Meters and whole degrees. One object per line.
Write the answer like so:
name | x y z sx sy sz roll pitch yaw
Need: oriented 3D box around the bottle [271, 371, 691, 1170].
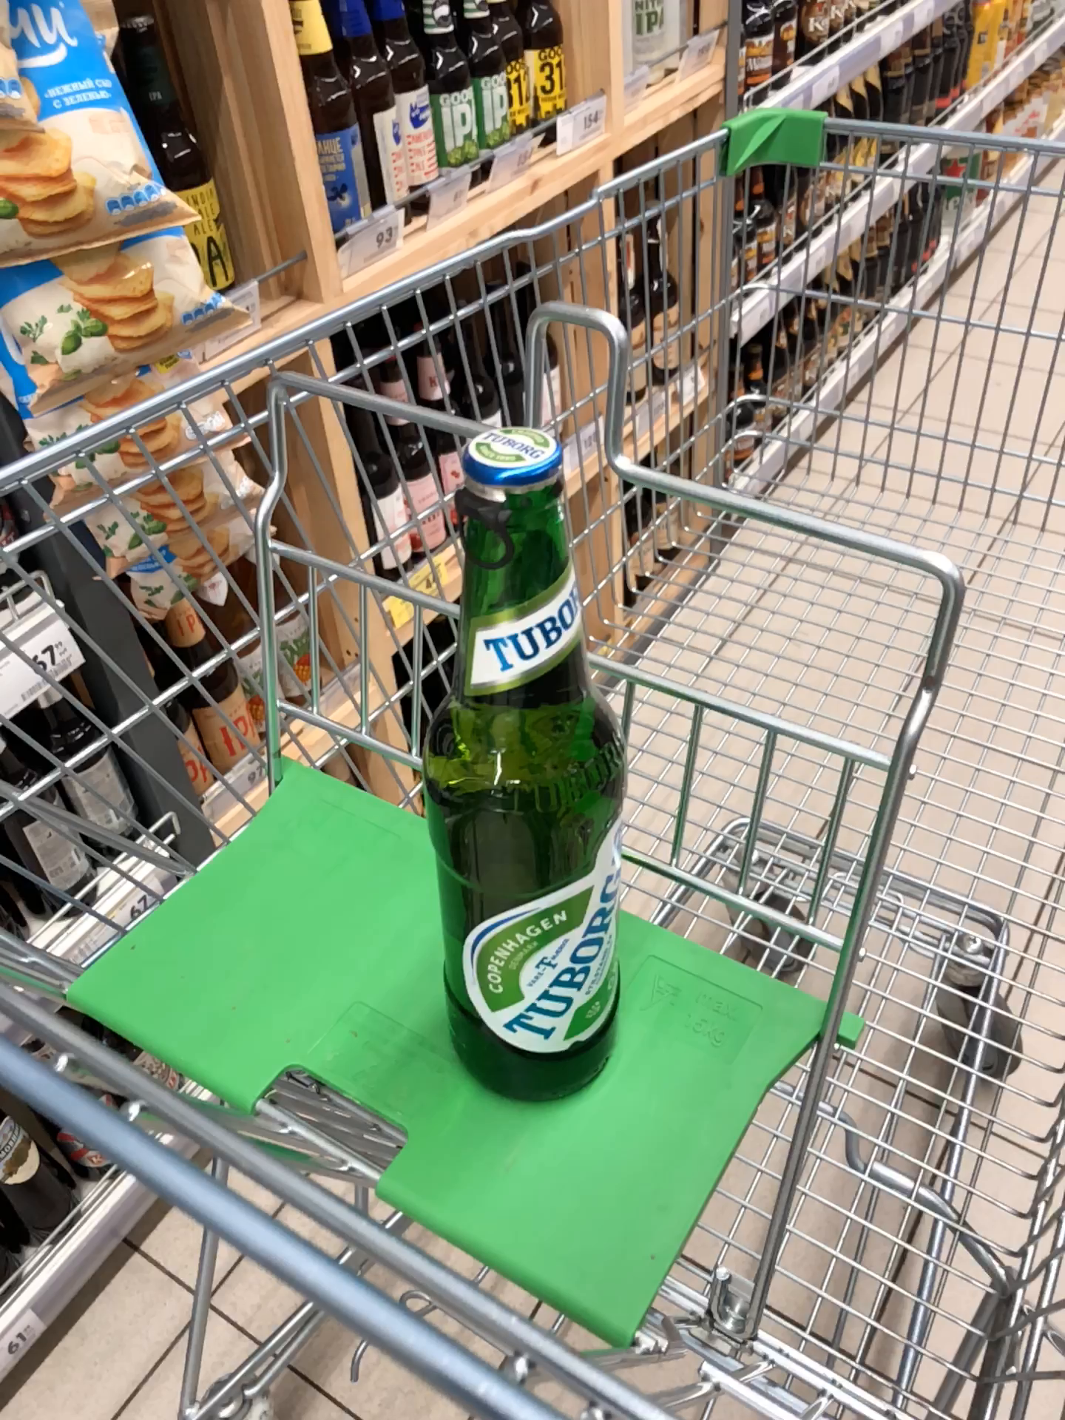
bottle | -0.008 0.036 0.377 0.080 0.258 0.070 -25 46 -23
